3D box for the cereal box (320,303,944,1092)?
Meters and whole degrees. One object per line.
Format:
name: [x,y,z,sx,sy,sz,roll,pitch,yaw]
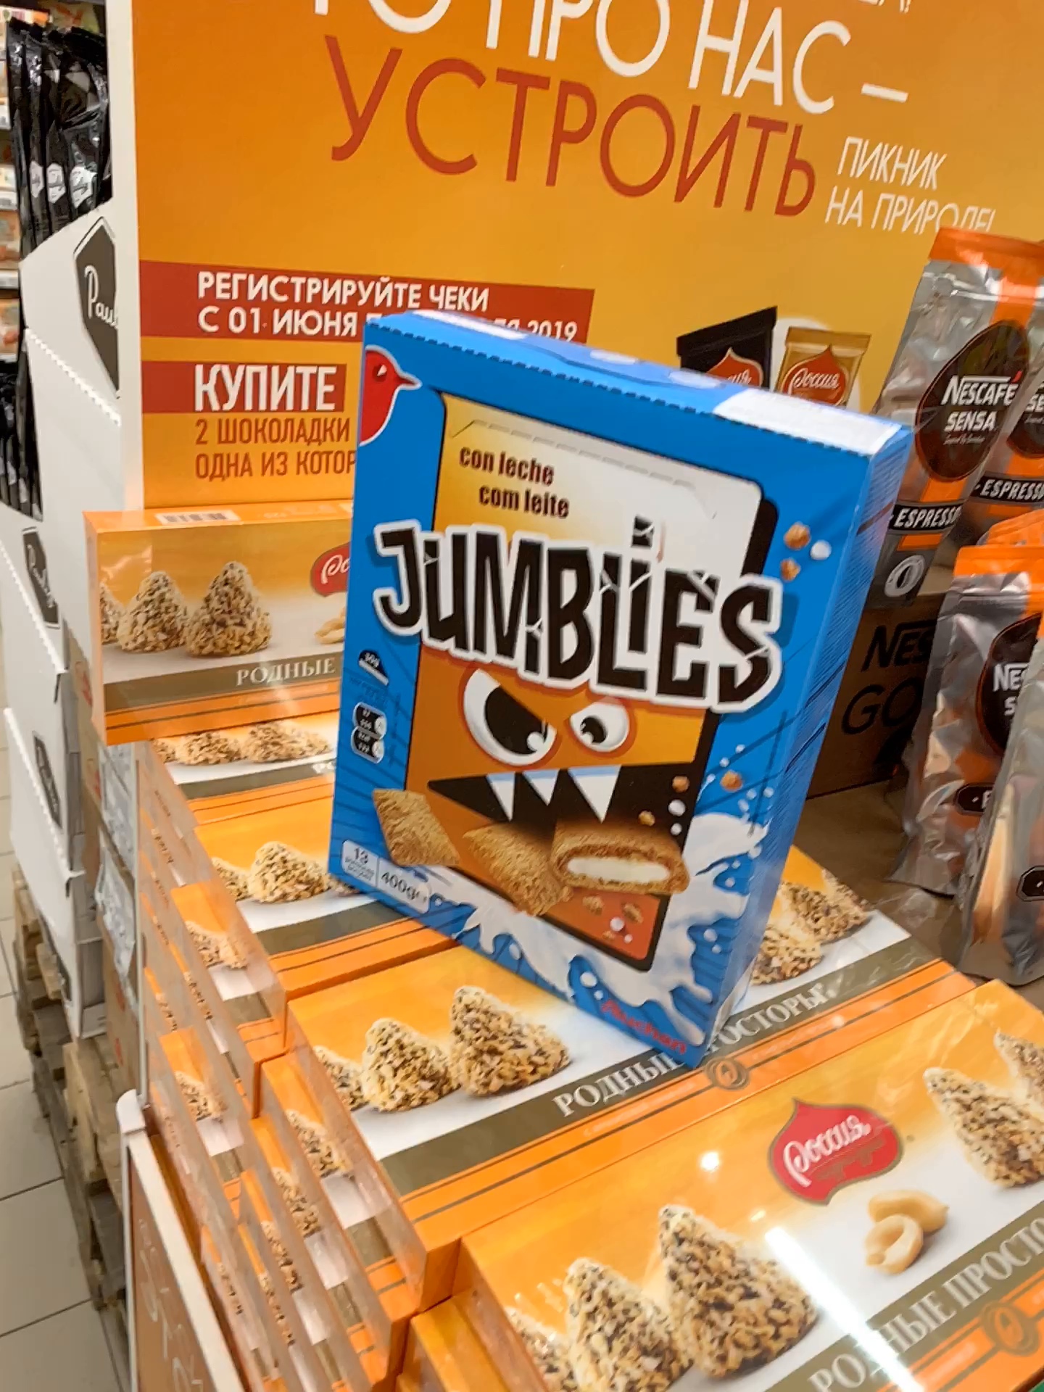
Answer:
cereal box: [0.022,-0.002,0.432,0.200,0.259,0.060,22,29,24]
